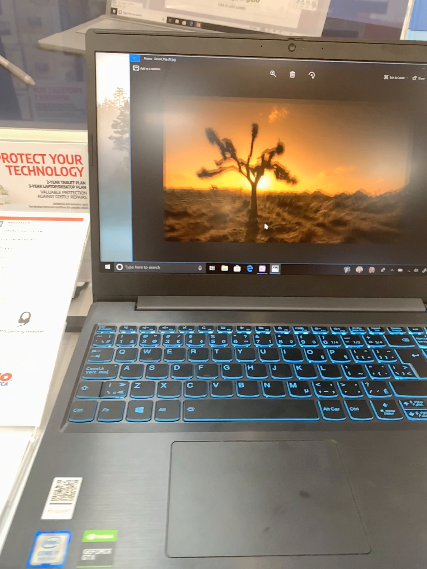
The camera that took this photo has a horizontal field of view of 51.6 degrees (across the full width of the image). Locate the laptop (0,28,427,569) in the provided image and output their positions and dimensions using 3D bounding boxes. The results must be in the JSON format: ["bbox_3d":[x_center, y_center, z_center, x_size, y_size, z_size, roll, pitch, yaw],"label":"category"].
[{"bbox_3d":[0.066,-0.034,0.298,0.340,0.214,0.330,1,31,-4],"label":"laptop"}]
